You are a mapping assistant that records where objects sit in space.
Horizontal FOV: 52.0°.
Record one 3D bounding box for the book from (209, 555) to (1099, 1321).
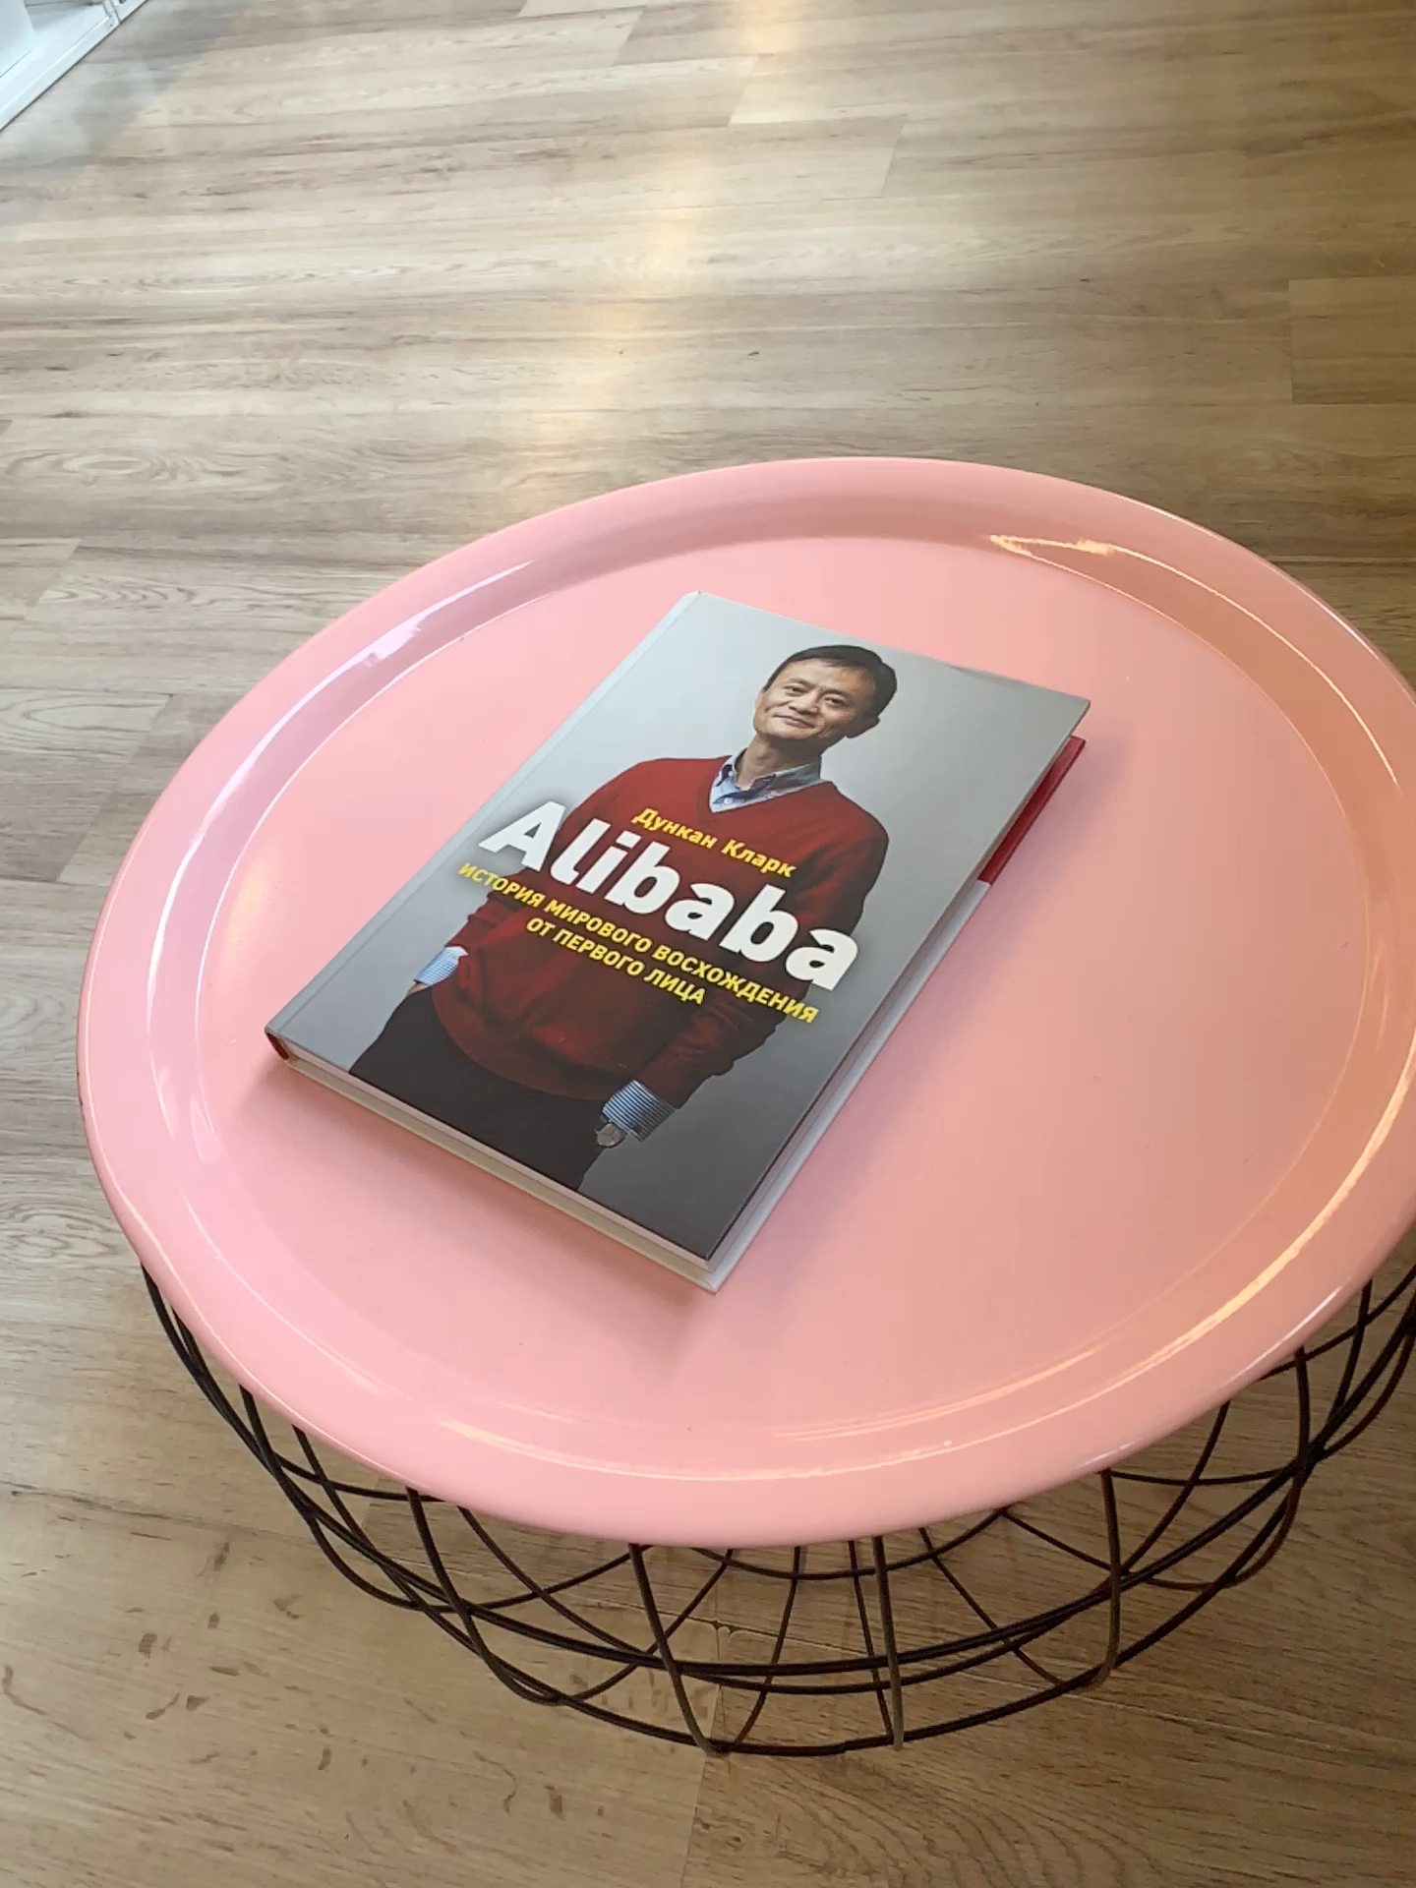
[{"bbox_3d":[-0.011,-0.025,0.468,0.180,0.026,0.240,24,59,27],"label":"book"}]
